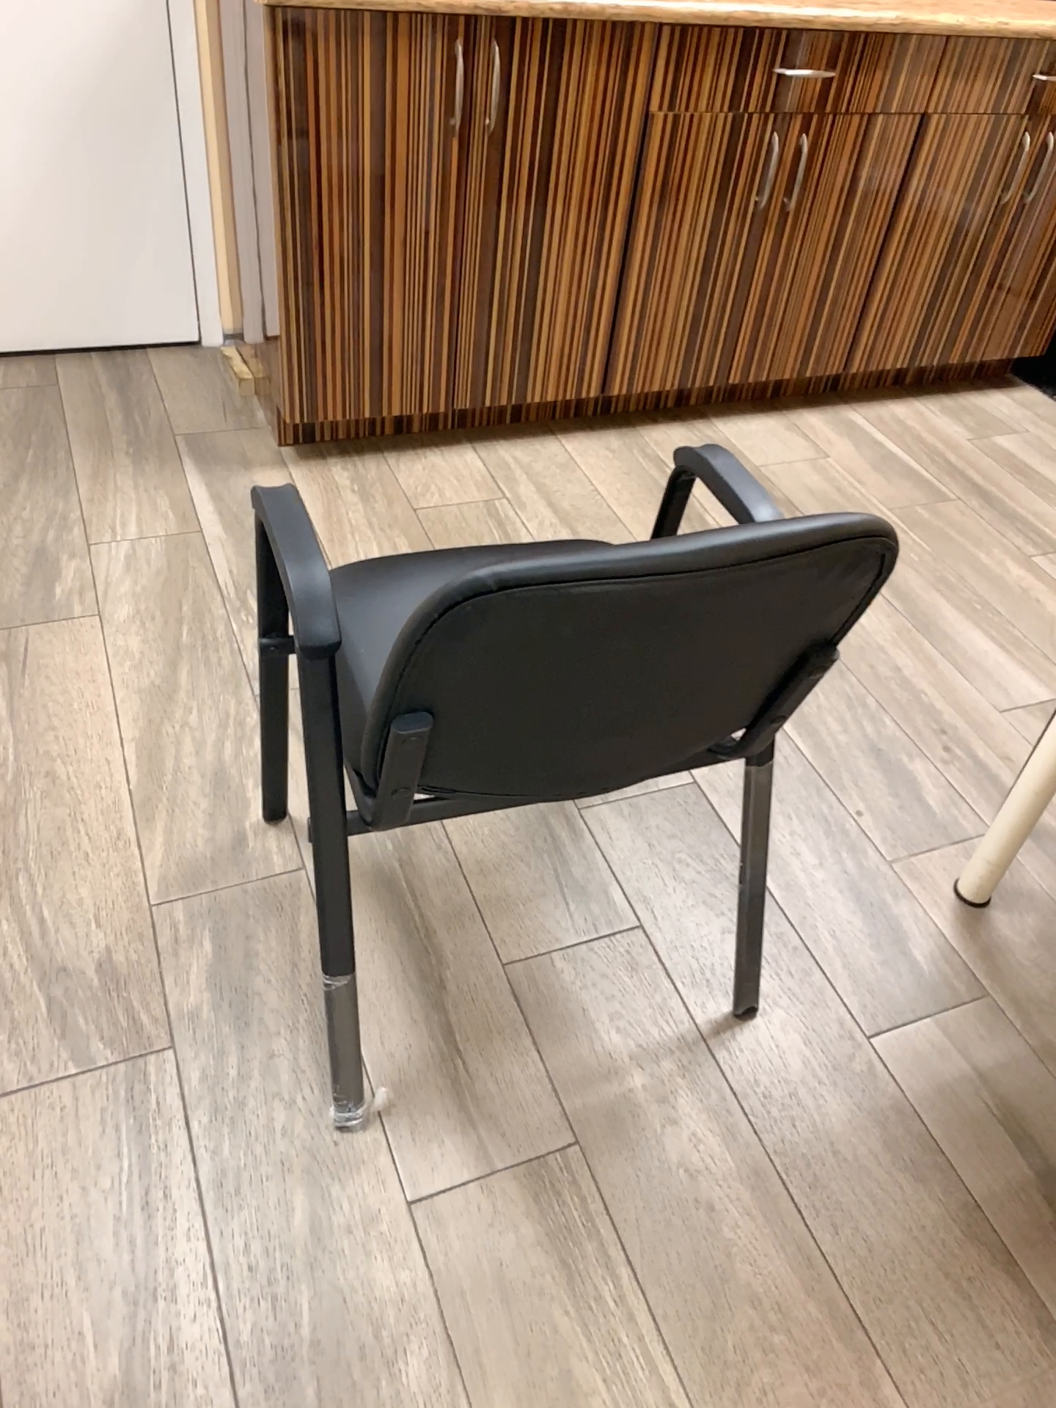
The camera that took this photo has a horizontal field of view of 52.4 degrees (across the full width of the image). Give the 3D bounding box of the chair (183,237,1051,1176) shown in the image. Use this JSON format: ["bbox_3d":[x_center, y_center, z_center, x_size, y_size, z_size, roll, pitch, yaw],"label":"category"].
[{"bbox_3d":[-0.004,-0.016,1.257,0.606,0.795,0.627,-10,45,-19],"label":"chair"}]
